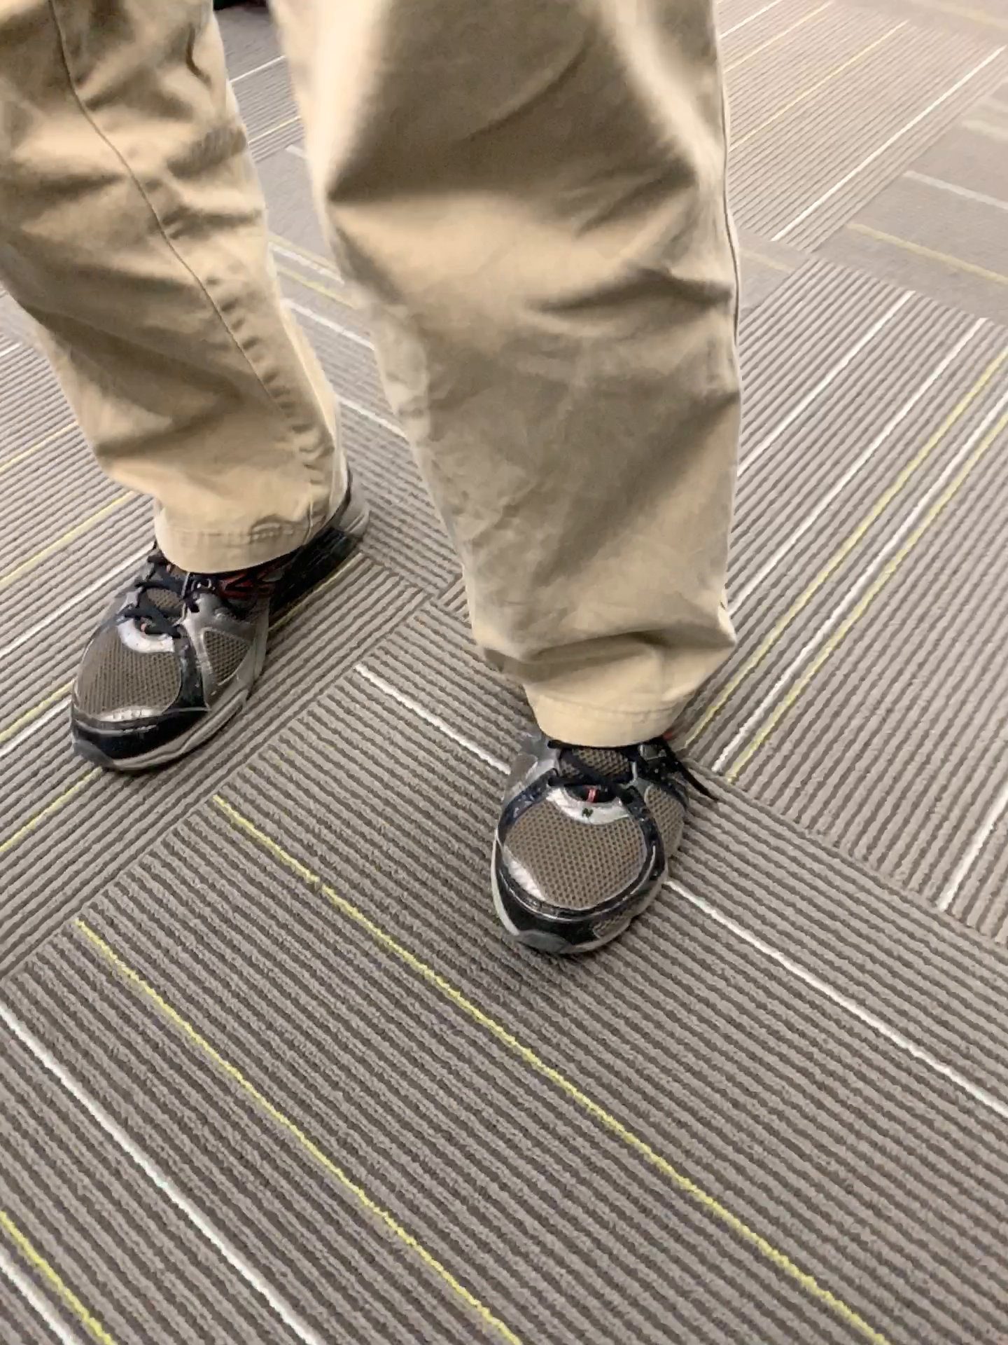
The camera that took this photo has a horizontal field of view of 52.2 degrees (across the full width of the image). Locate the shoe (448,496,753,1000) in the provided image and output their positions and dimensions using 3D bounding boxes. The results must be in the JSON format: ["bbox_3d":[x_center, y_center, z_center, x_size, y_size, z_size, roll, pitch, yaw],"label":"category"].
[{"bbox_3d":[0.073,0.032,0.676,0.130,0.087,0.316,11,53,9],"label":"shoe"}]

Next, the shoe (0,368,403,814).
[{"bbox_3d":[-0.208,-0.075,0.742,0.134,0.087,0.328,18,54,14],"label":"shoe"}]
